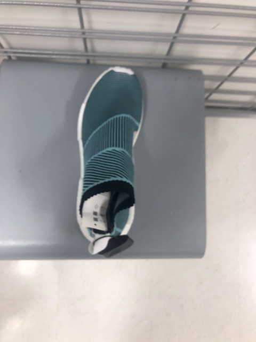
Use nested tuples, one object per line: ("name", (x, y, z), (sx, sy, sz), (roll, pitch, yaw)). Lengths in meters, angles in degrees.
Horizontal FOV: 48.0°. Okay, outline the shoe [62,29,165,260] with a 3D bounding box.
("shoe", (-0.022, -0.033, 0.444), (0.120, 0.130, 0.300), (3, 85, -6))
